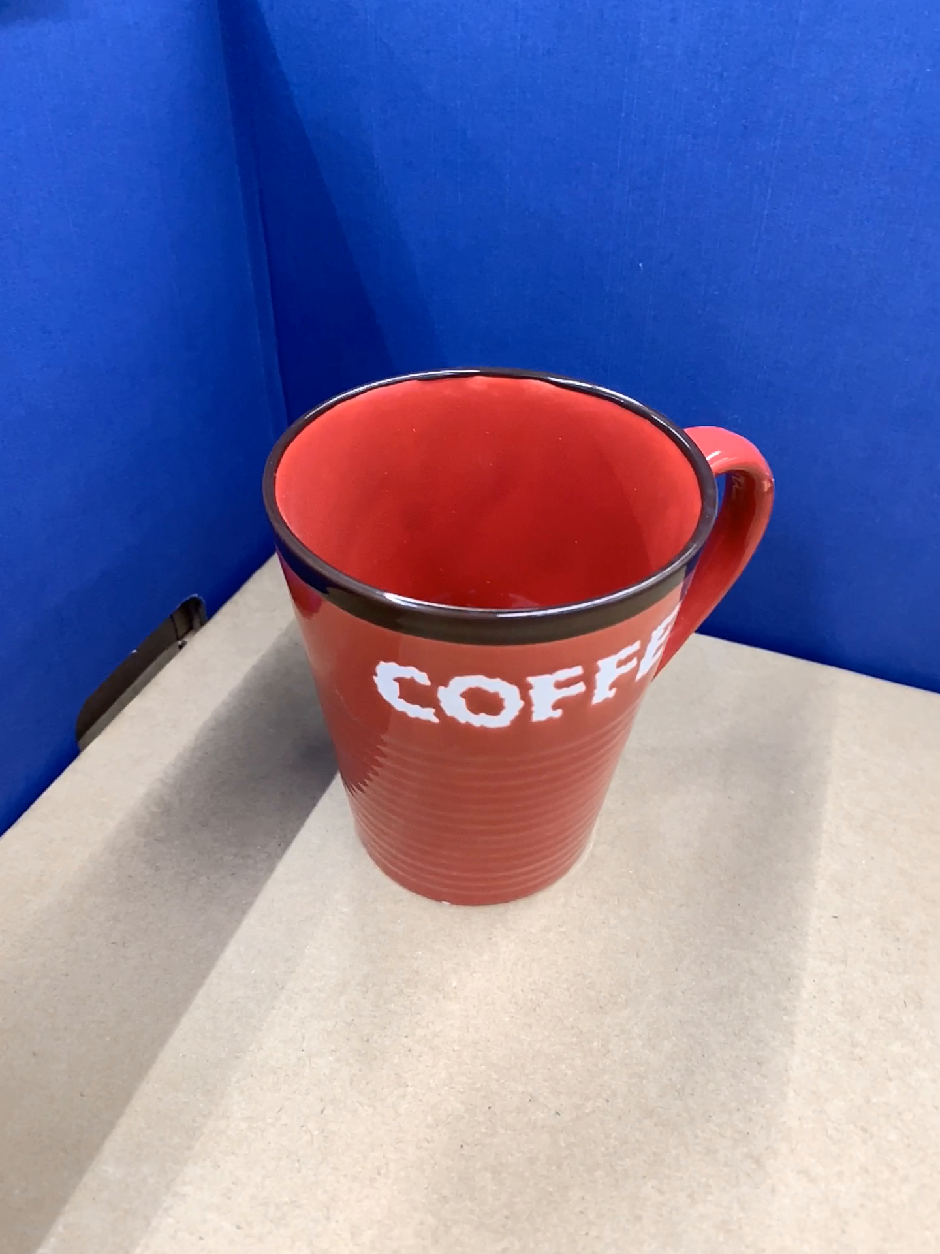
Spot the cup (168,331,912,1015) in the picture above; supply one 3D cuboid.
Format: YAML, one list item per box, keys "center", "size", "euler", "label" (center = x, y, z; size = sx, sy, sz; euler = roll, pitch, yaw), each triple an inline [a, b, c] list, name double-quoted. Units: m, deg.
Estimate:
- center: [0.010, 0.000, 0.237]
  size: [0.125, 0.092, 0.101]
  euler: [-18, 41, -23]
  label: "cup"
